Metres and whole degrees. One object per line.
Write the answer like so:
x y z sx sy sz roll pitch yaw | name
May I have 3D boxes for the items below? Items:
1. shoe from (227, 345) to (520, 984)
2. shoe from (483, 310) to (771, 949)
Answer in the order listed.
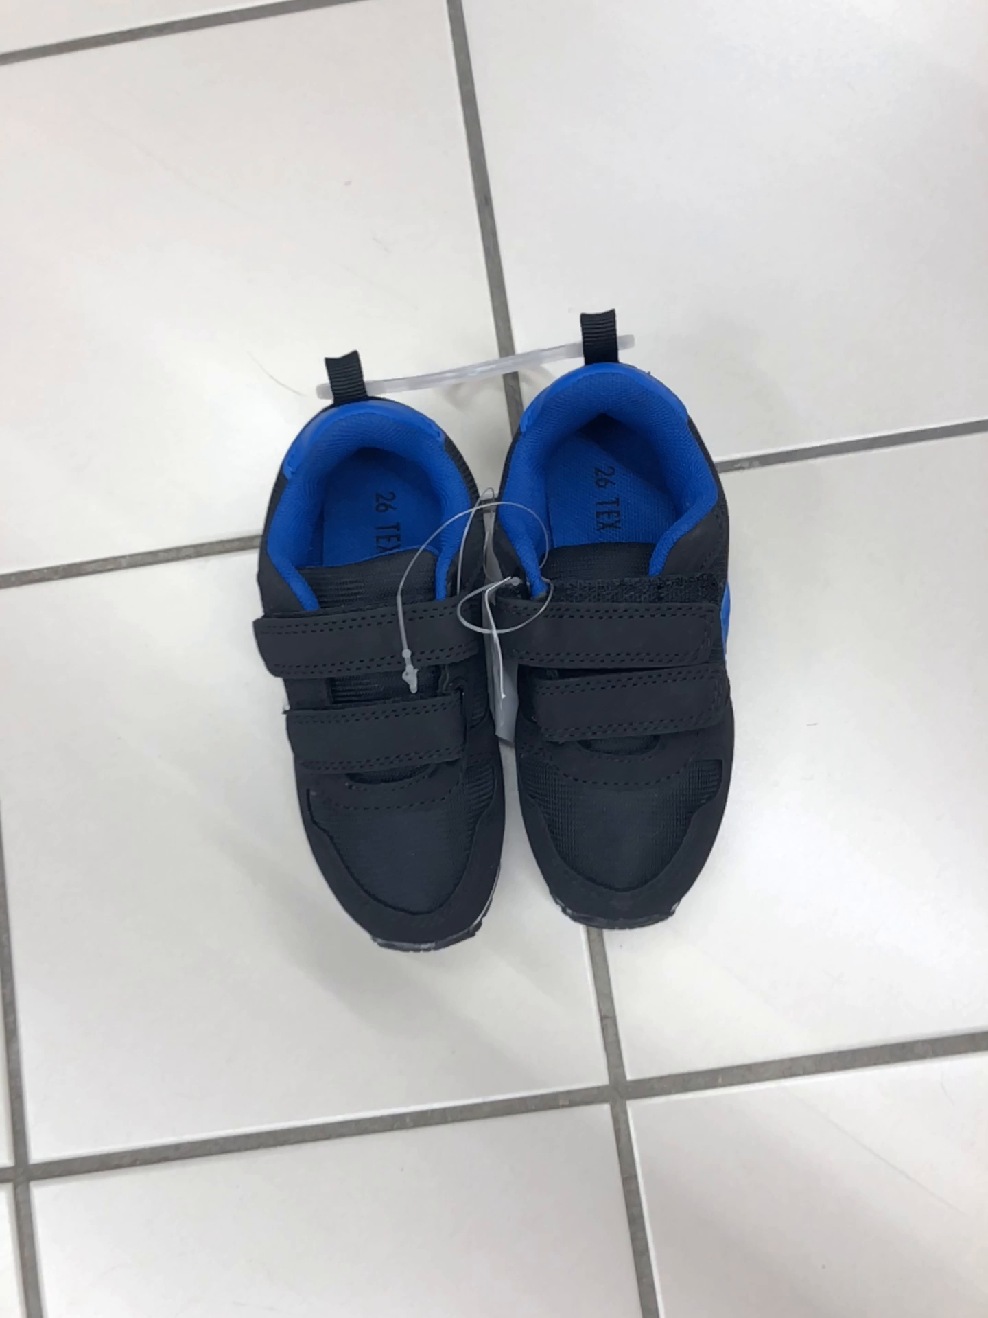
-0.035 0.003 0.341 0.067 0.073 0.174 -5 83 3 | shoe
0.038 -0.006 0.338 0.067 0.073 0.174 -4 83 3 | shoe
